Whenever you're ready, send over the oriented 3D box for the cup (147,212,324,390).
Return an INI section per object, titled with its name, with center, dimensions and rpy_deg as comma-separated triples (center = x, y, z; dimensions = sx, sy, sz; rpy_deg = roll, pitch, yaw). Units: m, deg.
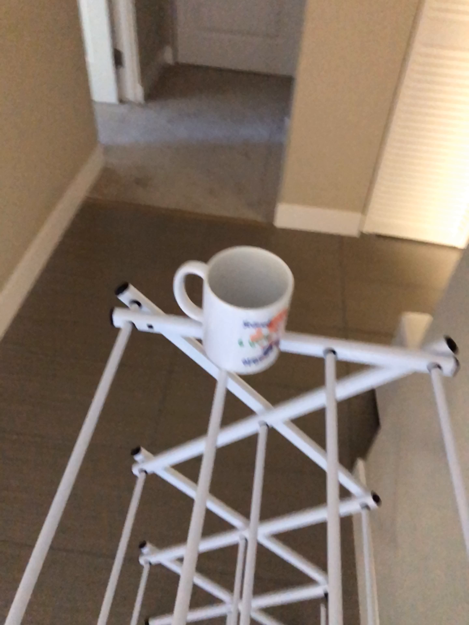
[cup]
center = -0.001, -0.013, 0.495
dimensions = 0.130, 0.090, 0.090
rpy_deg = 26, 52, 15
